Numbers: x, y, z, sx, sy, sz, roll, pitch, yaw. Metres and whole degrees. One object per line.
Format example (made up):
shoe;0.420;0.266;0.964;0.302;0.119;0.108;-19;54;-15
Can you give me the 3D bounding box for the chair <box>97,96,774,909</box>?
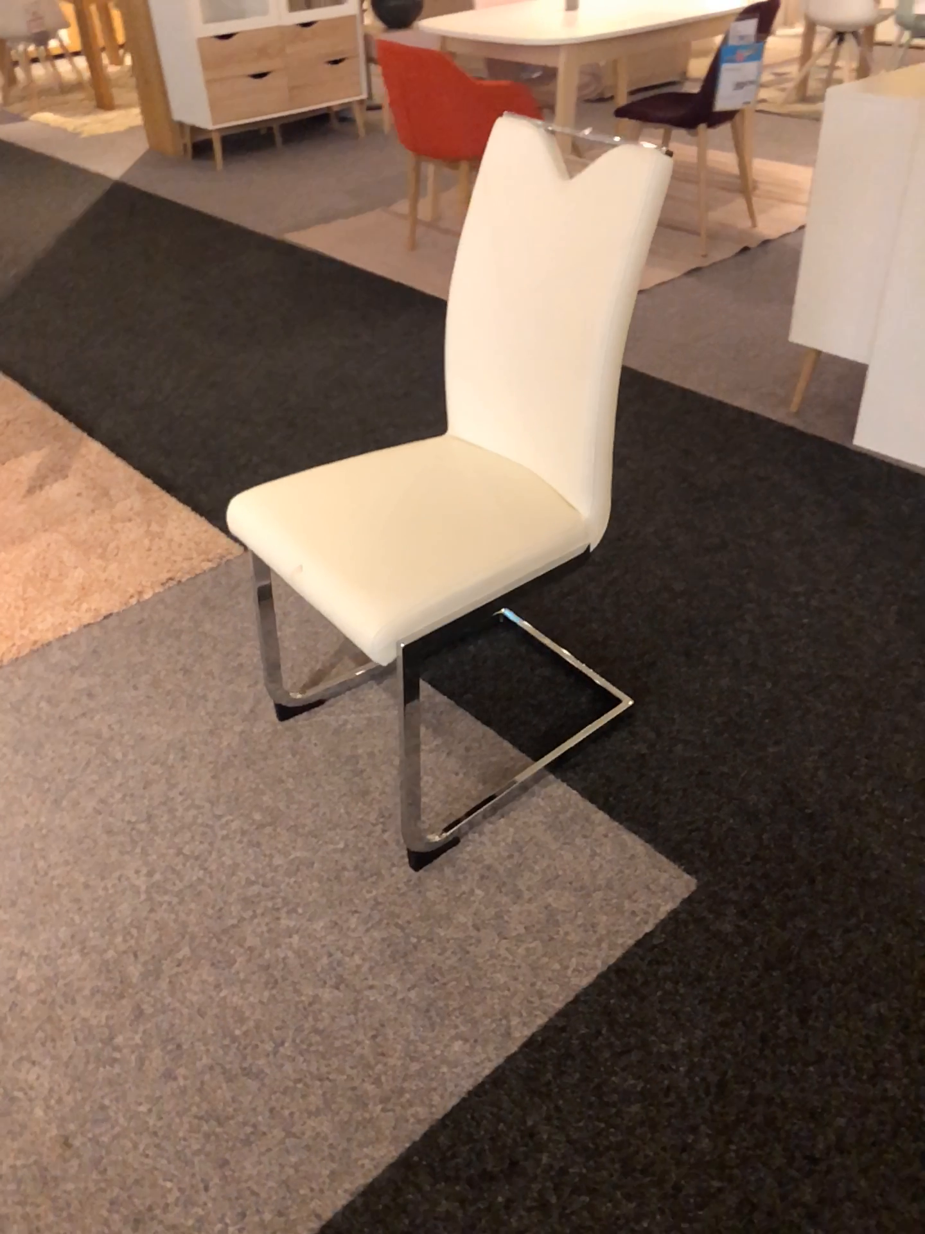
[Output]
chair;-0.024;-0.198;1.528;0.633;0.915;0.561;-27;43;-29
